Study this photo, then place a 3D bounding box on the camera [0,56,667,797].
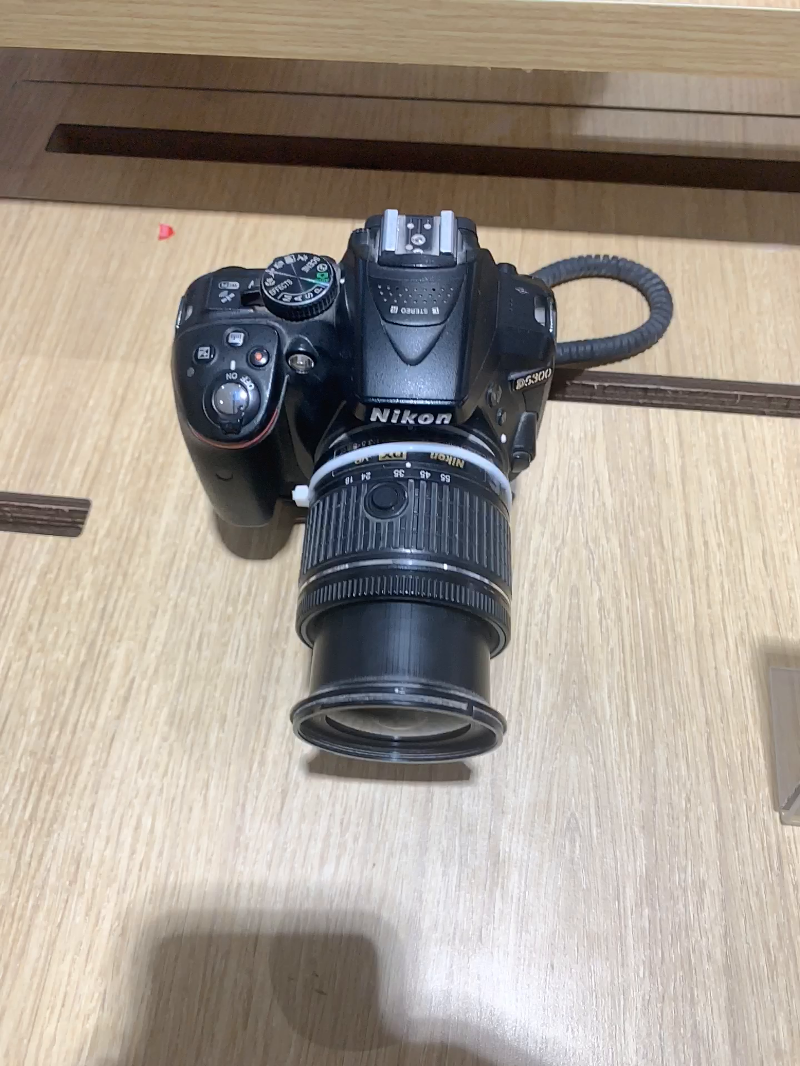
[{"bbox_3d":[-0.018,-0.036,0.276,0.160,0.120,0.210,2,61,3],"label":"camera"}]
